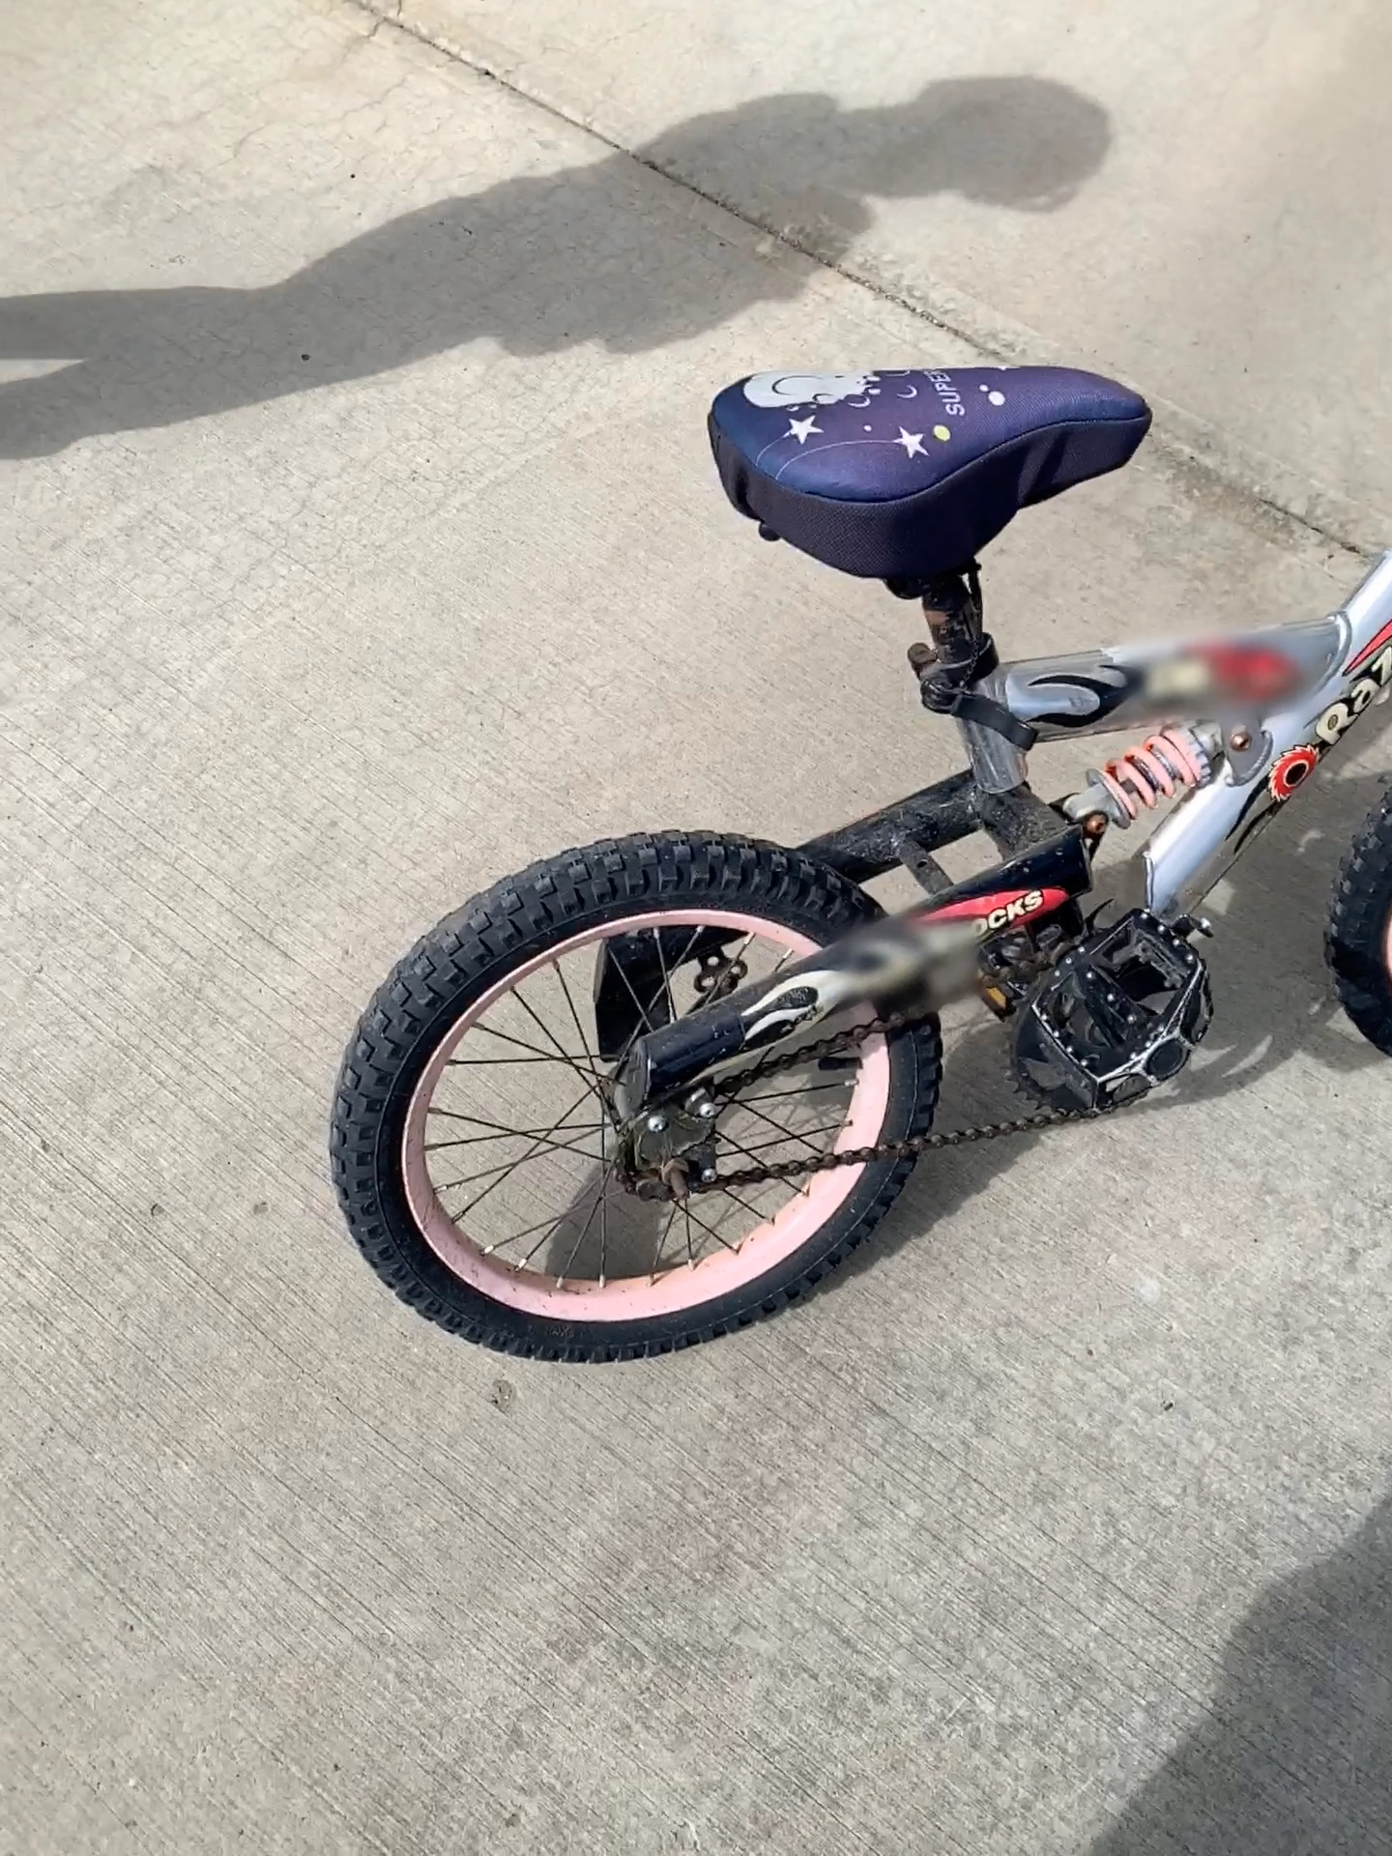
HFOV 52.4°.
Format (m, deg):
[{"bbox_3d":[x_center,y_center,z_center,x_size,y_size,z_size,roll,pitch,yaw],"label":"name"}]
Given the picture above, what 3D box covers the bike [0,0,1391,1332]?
[{"bbox_3d":[0.309,-0.190,0.849,1.123,0.692,0.359,-13,61,-15],"label":"bike"}]
